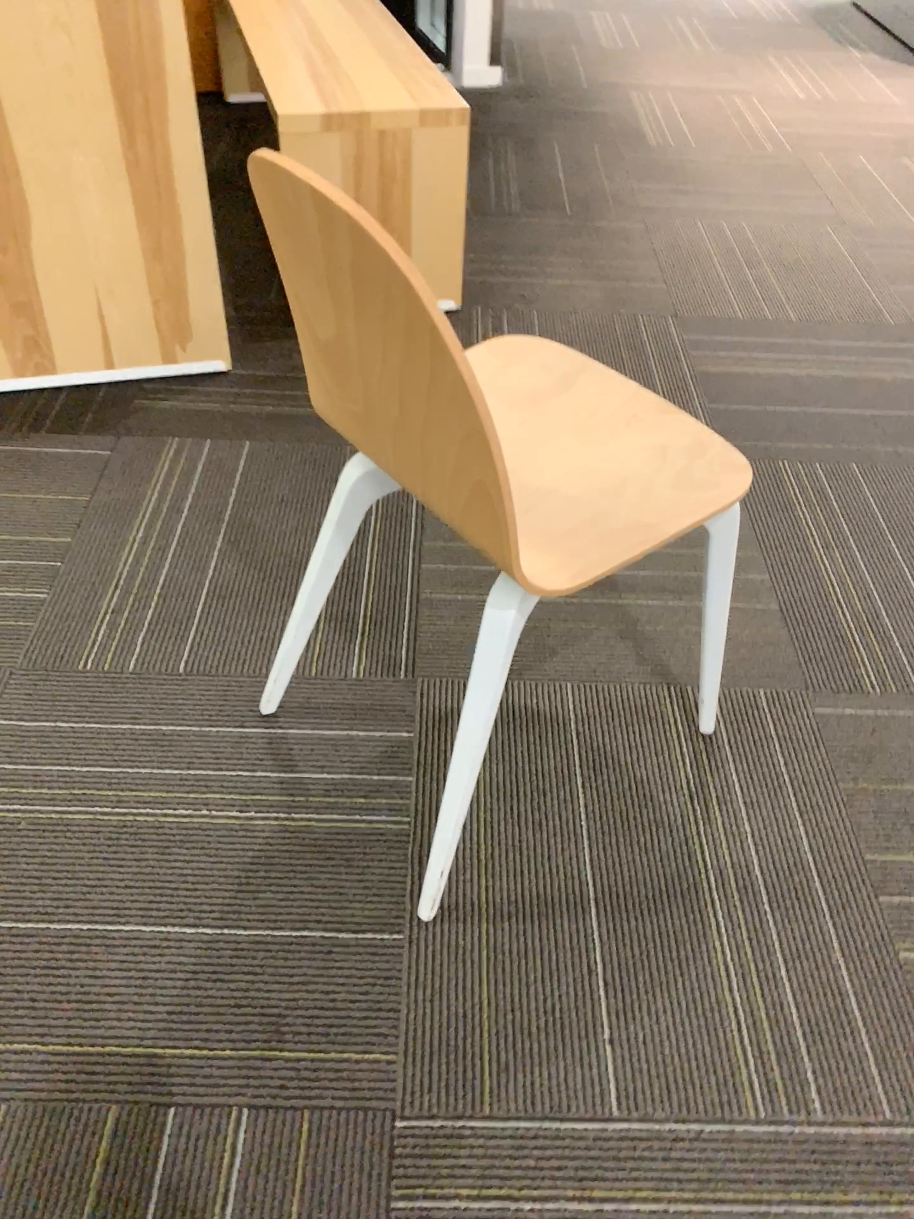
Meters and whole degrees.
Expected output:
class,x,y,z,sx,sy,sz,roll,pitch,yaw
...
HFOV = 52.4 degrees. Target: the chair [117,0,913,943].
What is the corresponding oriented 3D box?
class,x,y,z,sx,sy,sz,roll,pitch,yaw
chair,0.063,-0.147,1.068,0.571,0.825,0.462,-27,52,-27
